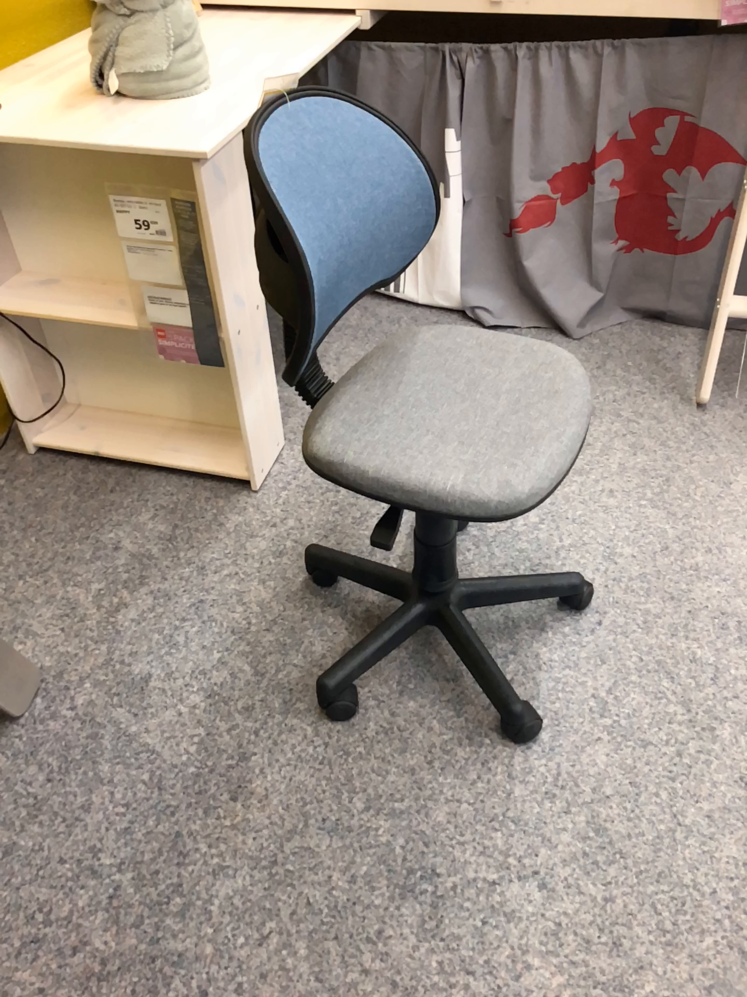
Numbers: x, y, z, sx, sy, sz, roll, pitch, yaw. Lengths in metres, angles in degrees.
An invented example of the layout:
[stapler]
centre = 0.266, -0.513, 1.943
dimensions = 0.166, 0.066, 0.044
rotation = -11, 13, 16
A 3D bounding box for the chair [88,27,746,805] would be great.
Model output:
[chair]
centre = 0.128, -0.135, 1.103
dimensions = 0.560, 0.746, 0.604
rotation = 13, 43, 17
